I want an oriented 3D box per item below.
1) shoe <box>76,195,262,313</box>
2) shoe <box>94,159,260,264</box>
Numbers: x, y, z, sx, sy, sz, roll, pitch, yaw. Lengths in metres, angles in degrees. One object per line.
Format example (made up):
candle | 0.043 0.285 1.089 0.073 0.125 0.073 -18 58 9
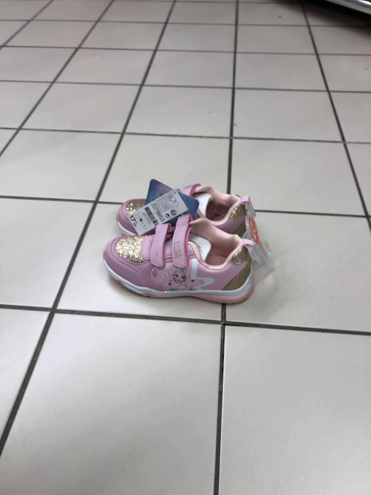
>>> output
shoe | -0.013 0.007 0.487 0.195 0.087 0.083 6 46 7
shoe | -0.006 -0.048 0.540 0.195 0.087 0.083 6 46 7
